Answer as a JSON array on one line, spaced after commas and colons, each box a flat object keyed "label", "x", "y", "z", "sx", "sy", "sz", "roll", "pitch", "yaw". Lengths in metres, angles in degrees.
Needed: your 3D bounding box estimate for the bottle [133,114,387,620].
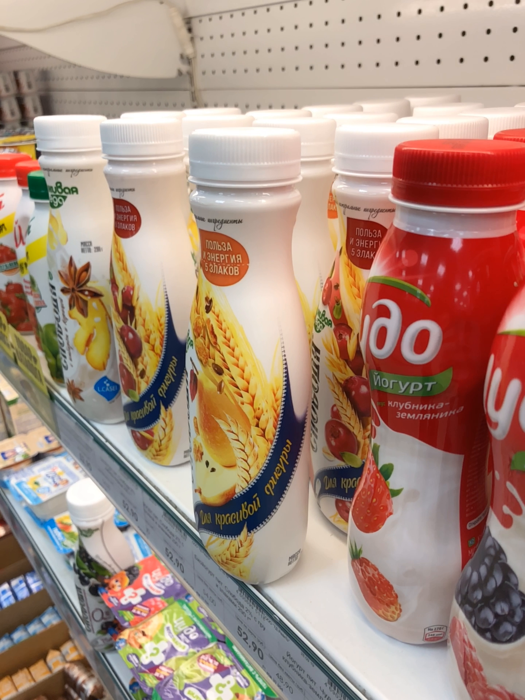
[{"label": "bottle", "x": 0.001, "y": 0.006, "z": 0.244, "sx": 0.060, "sy": 0.189, "sz": 0.070, "roll": -18, "pitch": 29, "yaw": -30}]
